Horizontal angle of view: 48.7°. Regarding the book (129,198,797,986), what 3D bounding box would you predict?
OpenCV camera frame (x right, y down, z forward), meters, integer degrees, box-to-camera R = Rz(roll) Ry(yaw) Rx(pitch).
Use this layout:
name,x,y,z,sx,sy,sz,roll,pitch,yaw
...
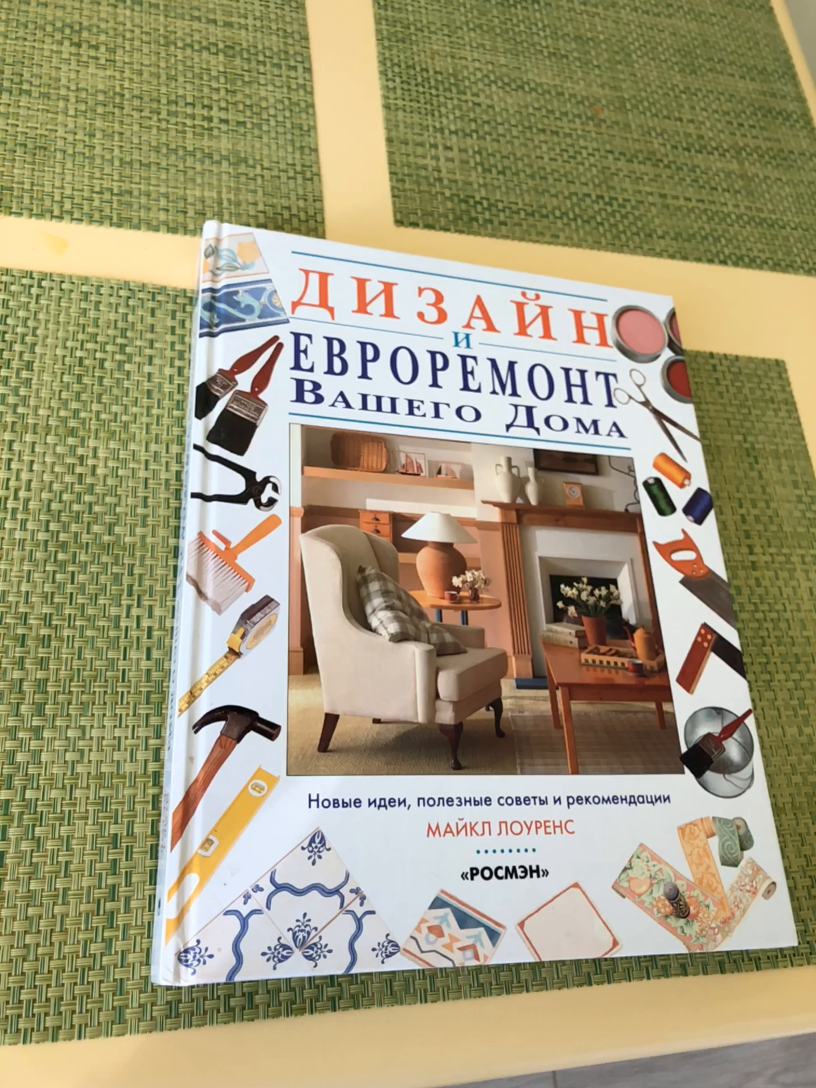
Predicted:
name,x,y,z,sx,sy,sz,roll,pitch,yaw
book,0.018,0.008,0.343,0.213,0.038,0.276,5,65,-17
